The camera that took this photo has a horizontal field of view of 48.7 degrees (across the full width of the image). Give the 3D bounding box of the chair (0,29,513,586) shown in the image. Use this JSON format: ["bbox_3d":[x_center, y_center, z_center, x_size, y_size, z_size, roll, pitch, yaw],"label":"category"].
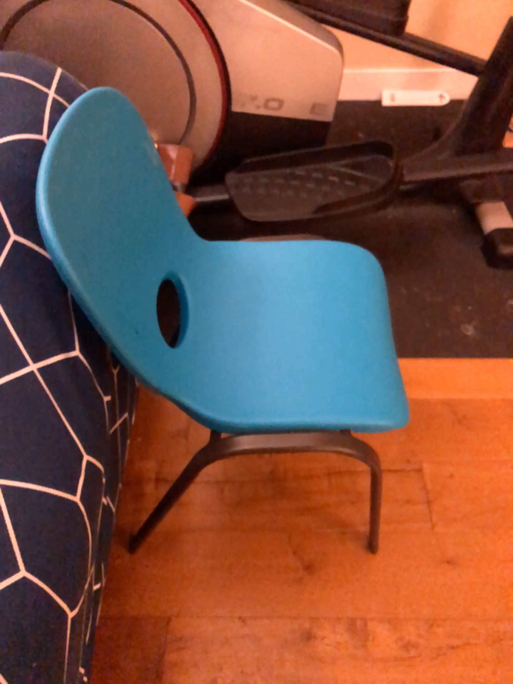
[{"bbox_3d":[-0.011,-0.013,0.707,0.400,0.527,0.433,-3,50,0],"label":"chair"}]
